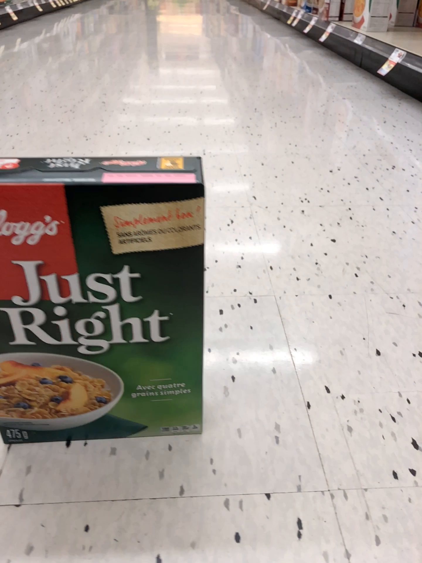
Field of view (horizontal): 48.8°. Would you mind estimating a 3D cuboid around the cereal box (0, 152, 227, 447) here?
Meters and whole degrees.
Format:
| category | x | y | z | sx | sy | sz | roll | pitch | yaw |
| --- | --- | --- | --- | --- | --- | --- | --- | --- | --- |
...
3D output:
| category | x | y | z | sx | sy | sz | roll | pitch | yaw |
| --- | --- | --- | --- | --- | --- | --- | --- | --- | --- |
| cereal box | -0.097 | 0.031 | 0.392 | 0.210 | 0.268 | 0.050 | -1 | 34 | -2 |
